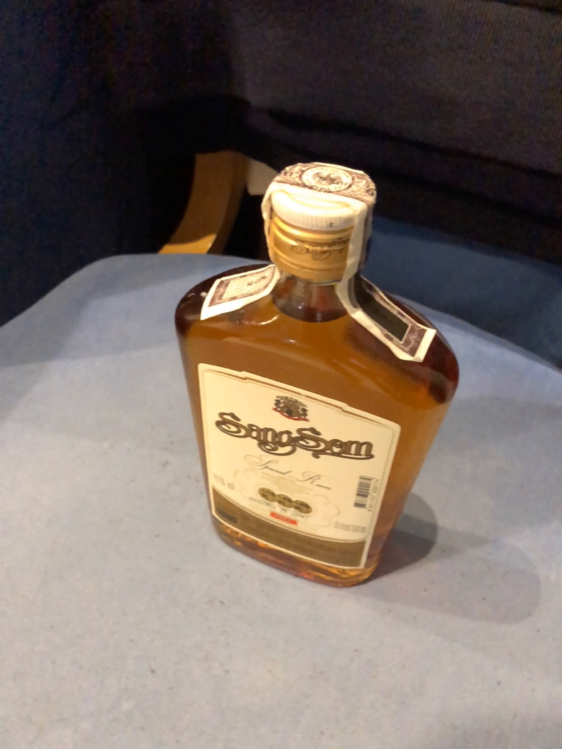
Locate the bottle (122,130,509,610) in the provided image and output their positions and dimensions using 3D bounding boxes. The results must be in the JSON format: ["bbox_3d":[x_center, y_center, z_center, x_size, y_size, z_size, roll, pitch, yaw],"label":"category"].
[{"bbox_3d":[0.008,0.015,0.227,0.090,0.179,0.041,17,51,14],"label":"bottle"}]
